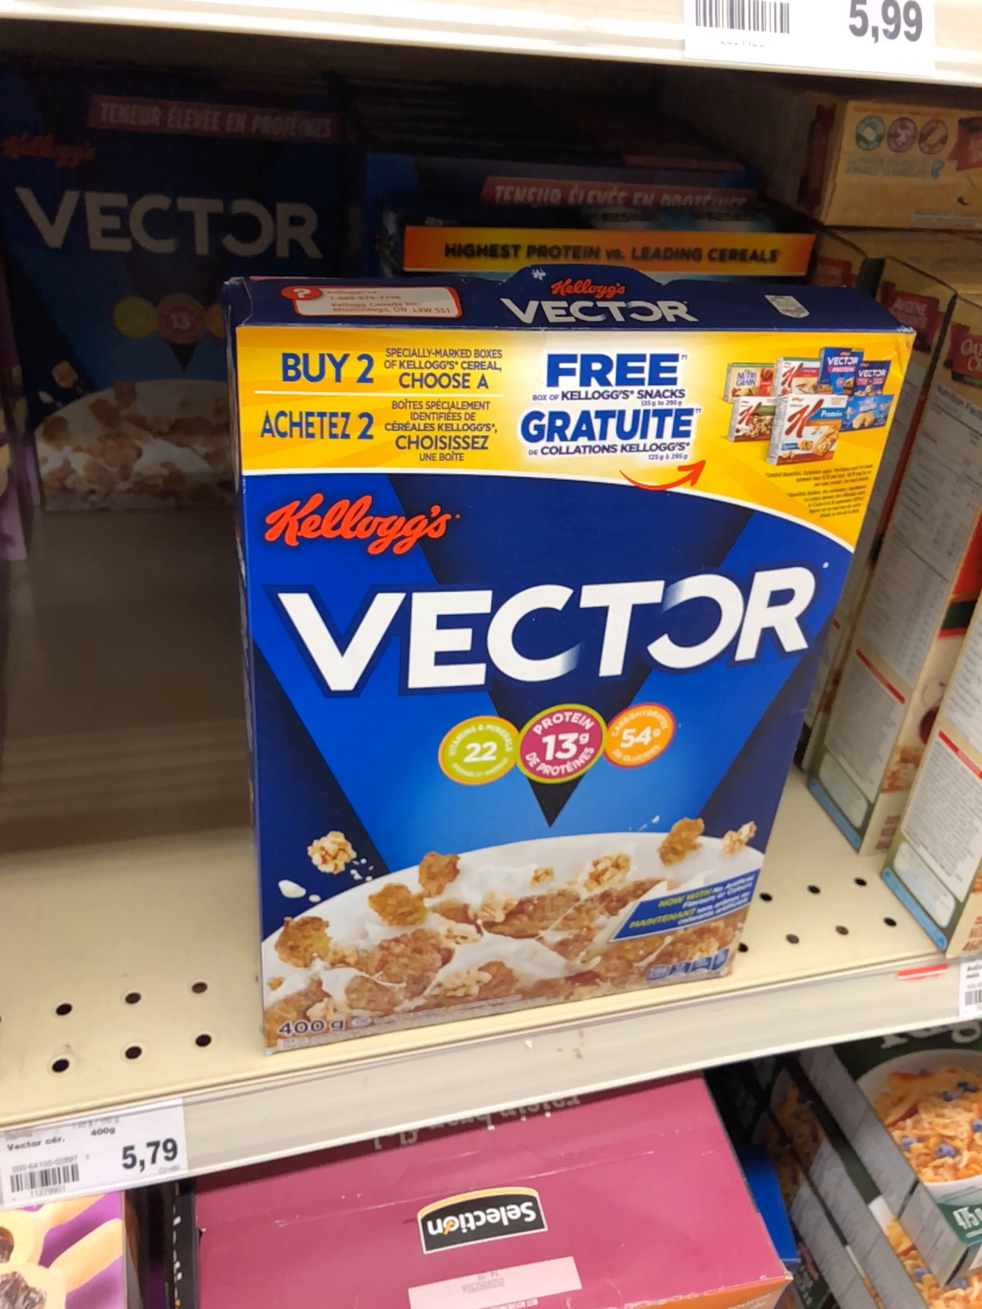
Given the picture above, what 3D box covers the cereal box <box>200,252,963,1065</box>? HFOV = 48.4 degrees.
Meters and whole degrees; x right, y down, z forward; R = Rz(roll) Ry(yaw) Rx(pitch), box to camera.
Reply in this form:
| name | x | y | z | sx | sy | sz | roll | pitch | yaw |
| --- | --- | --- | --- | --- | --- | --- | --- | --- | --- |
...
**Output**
| name | x | y | z | sx | sy | sz | roll | pitch | yaw |
| --- | --- | --- | --- | --- | --- | --- | --- | --- | --- |
| cereal box | 0.013 | 0.012 | 0.370 | 0.200 | 0.268 | 0.060 | -4 | 35 | -16 |
